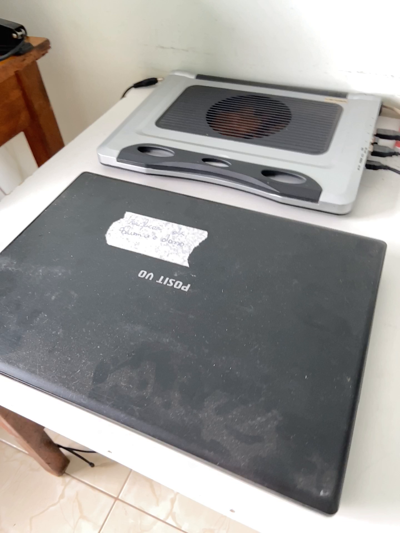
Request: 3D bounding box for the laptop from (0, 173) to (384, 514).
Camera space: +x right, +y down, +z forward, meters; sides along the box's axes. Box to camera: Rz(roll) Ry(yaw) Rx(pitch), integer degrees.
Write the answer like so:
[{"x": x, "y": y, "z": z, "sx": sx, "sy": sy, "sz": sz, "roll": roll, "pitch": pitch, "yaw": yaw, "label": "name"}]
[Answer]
[{"x": -0.028, "y": 0.020, "z": 0.362, "sx": 0.328, "sy": 0.008, "sz": 0.234, "roll": 16, "pitch": 52, "yaw": 18, "label": "laptop"}]
